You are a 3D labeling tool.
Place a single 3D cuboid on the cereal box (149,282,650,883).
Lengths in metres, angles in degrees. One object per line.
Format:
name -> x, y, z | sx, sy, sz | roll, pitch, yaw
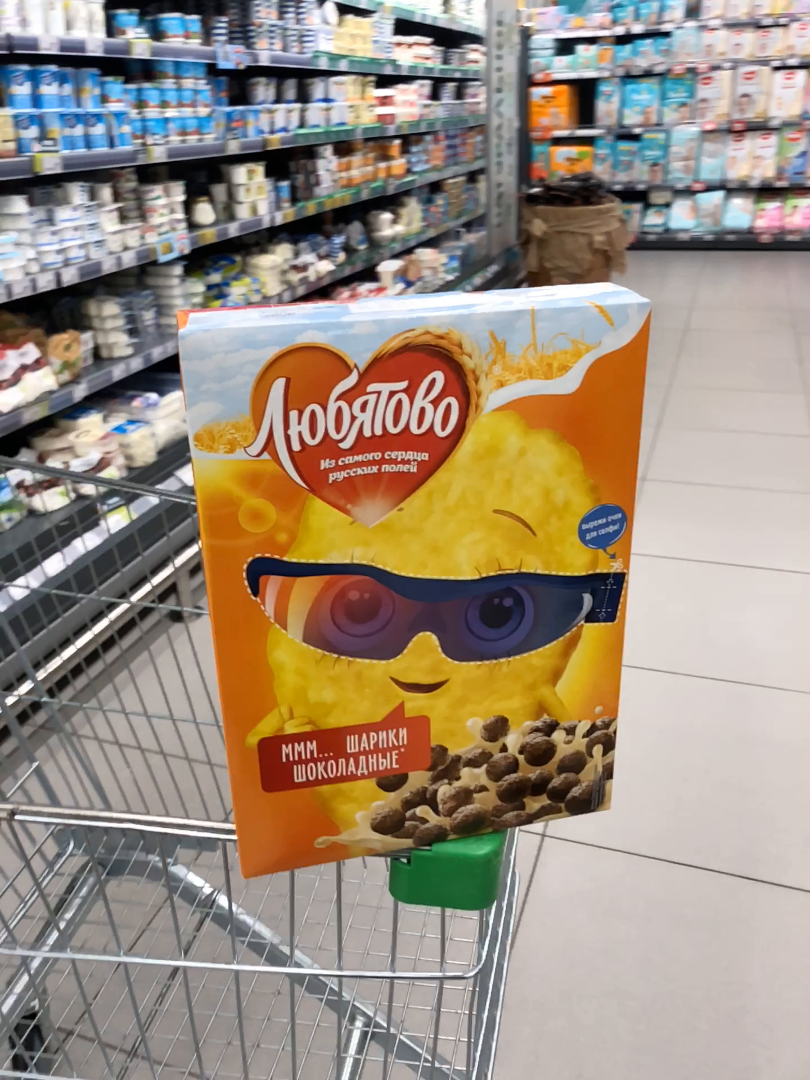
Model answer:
cereal box -> 0.001, 0.021, 0.415 | 0.200, 0.259, 0.050 | -7, 23, -13
